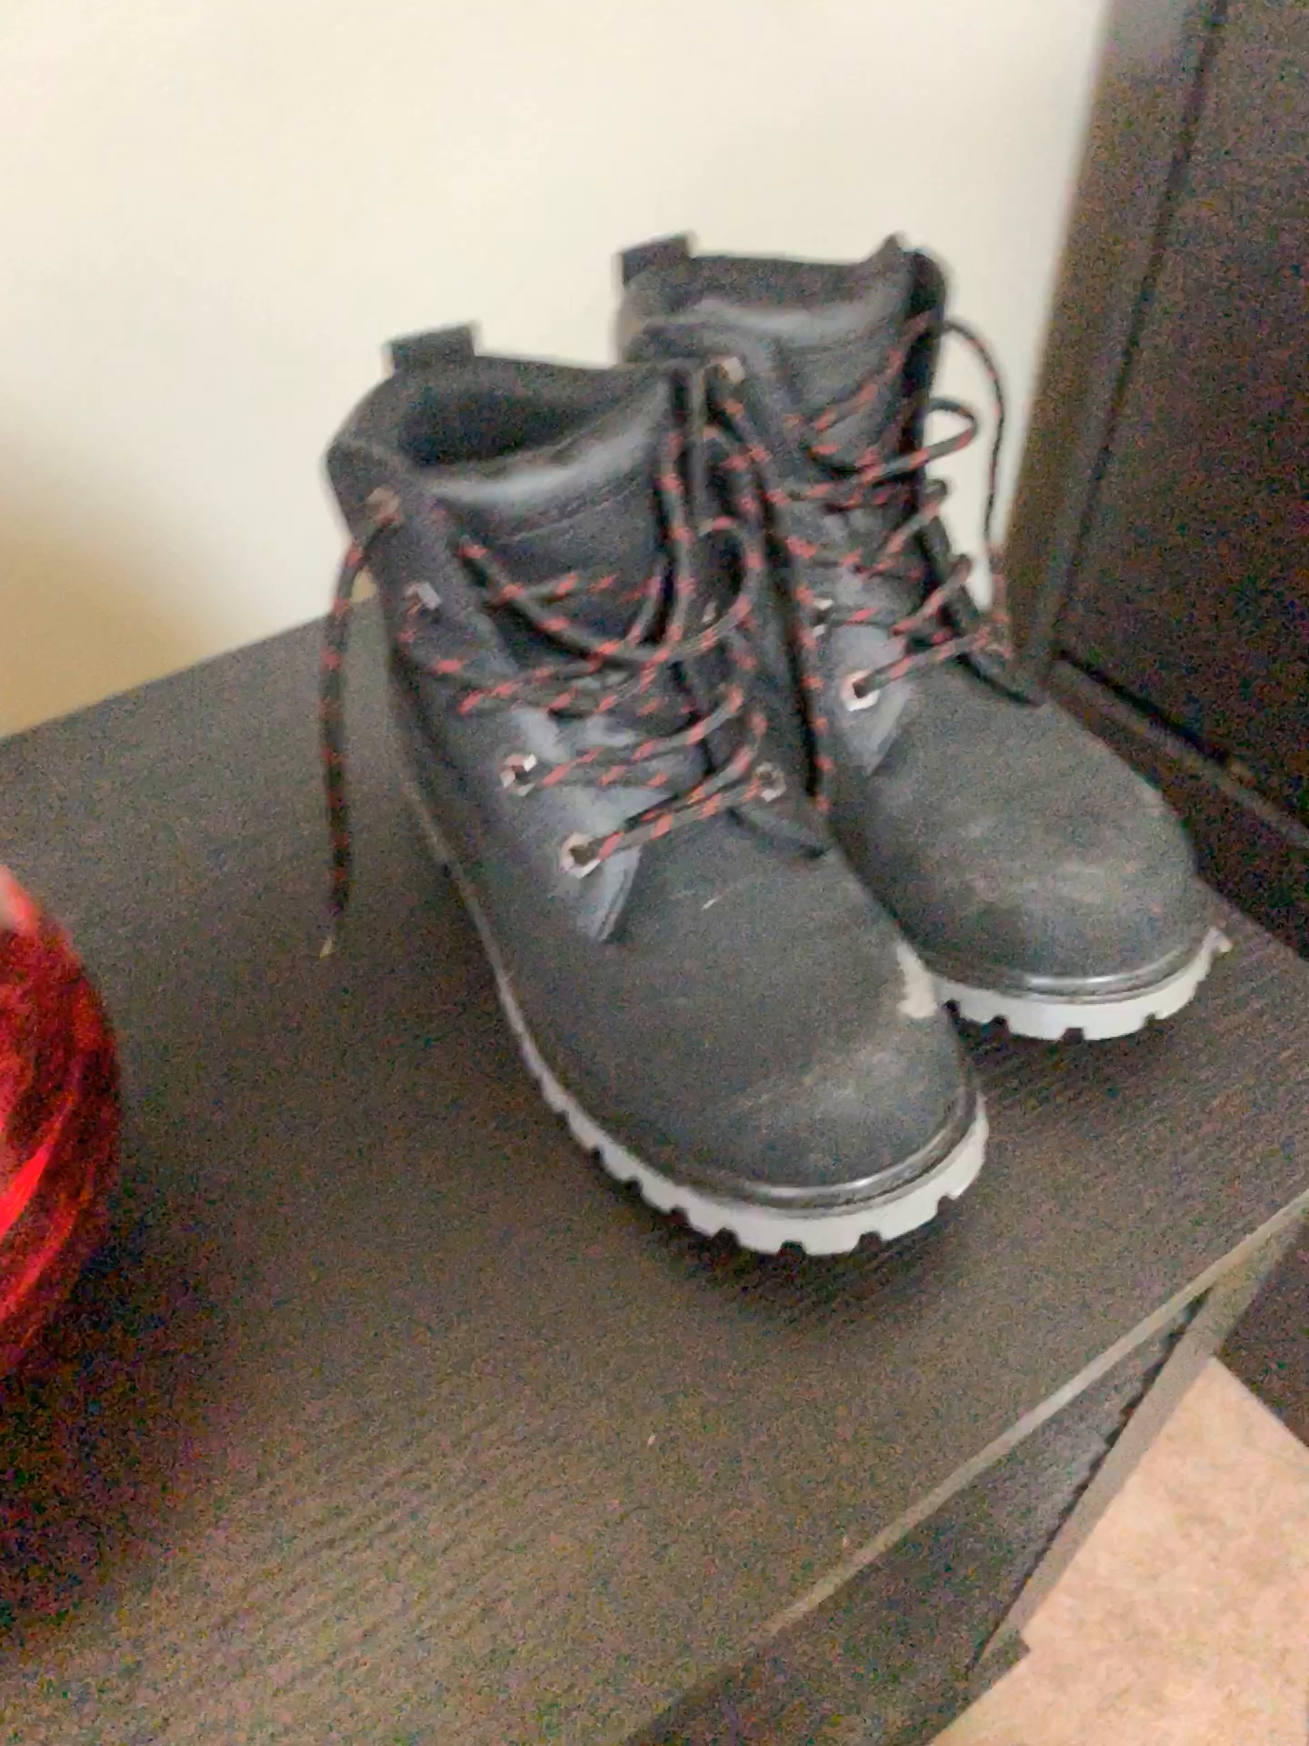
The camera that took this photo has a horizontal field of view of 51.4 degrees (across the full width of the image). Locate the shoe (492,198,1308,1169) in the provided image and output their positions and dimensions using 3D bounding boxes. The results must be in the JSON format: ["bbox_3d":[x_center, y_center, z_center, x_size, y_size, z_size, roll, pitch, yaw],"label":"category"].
[{"bbox_3d":[0.063,-0.066,0.389,0.100,0.159,0.231,-27,50,-23],"label":"shoe"}]

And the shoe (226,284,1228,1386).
[{"bbox_3d":[0.000,-0.021,0.345,0.100,0.159,0.221,-27,50,-23],"label":"shoe"}]
